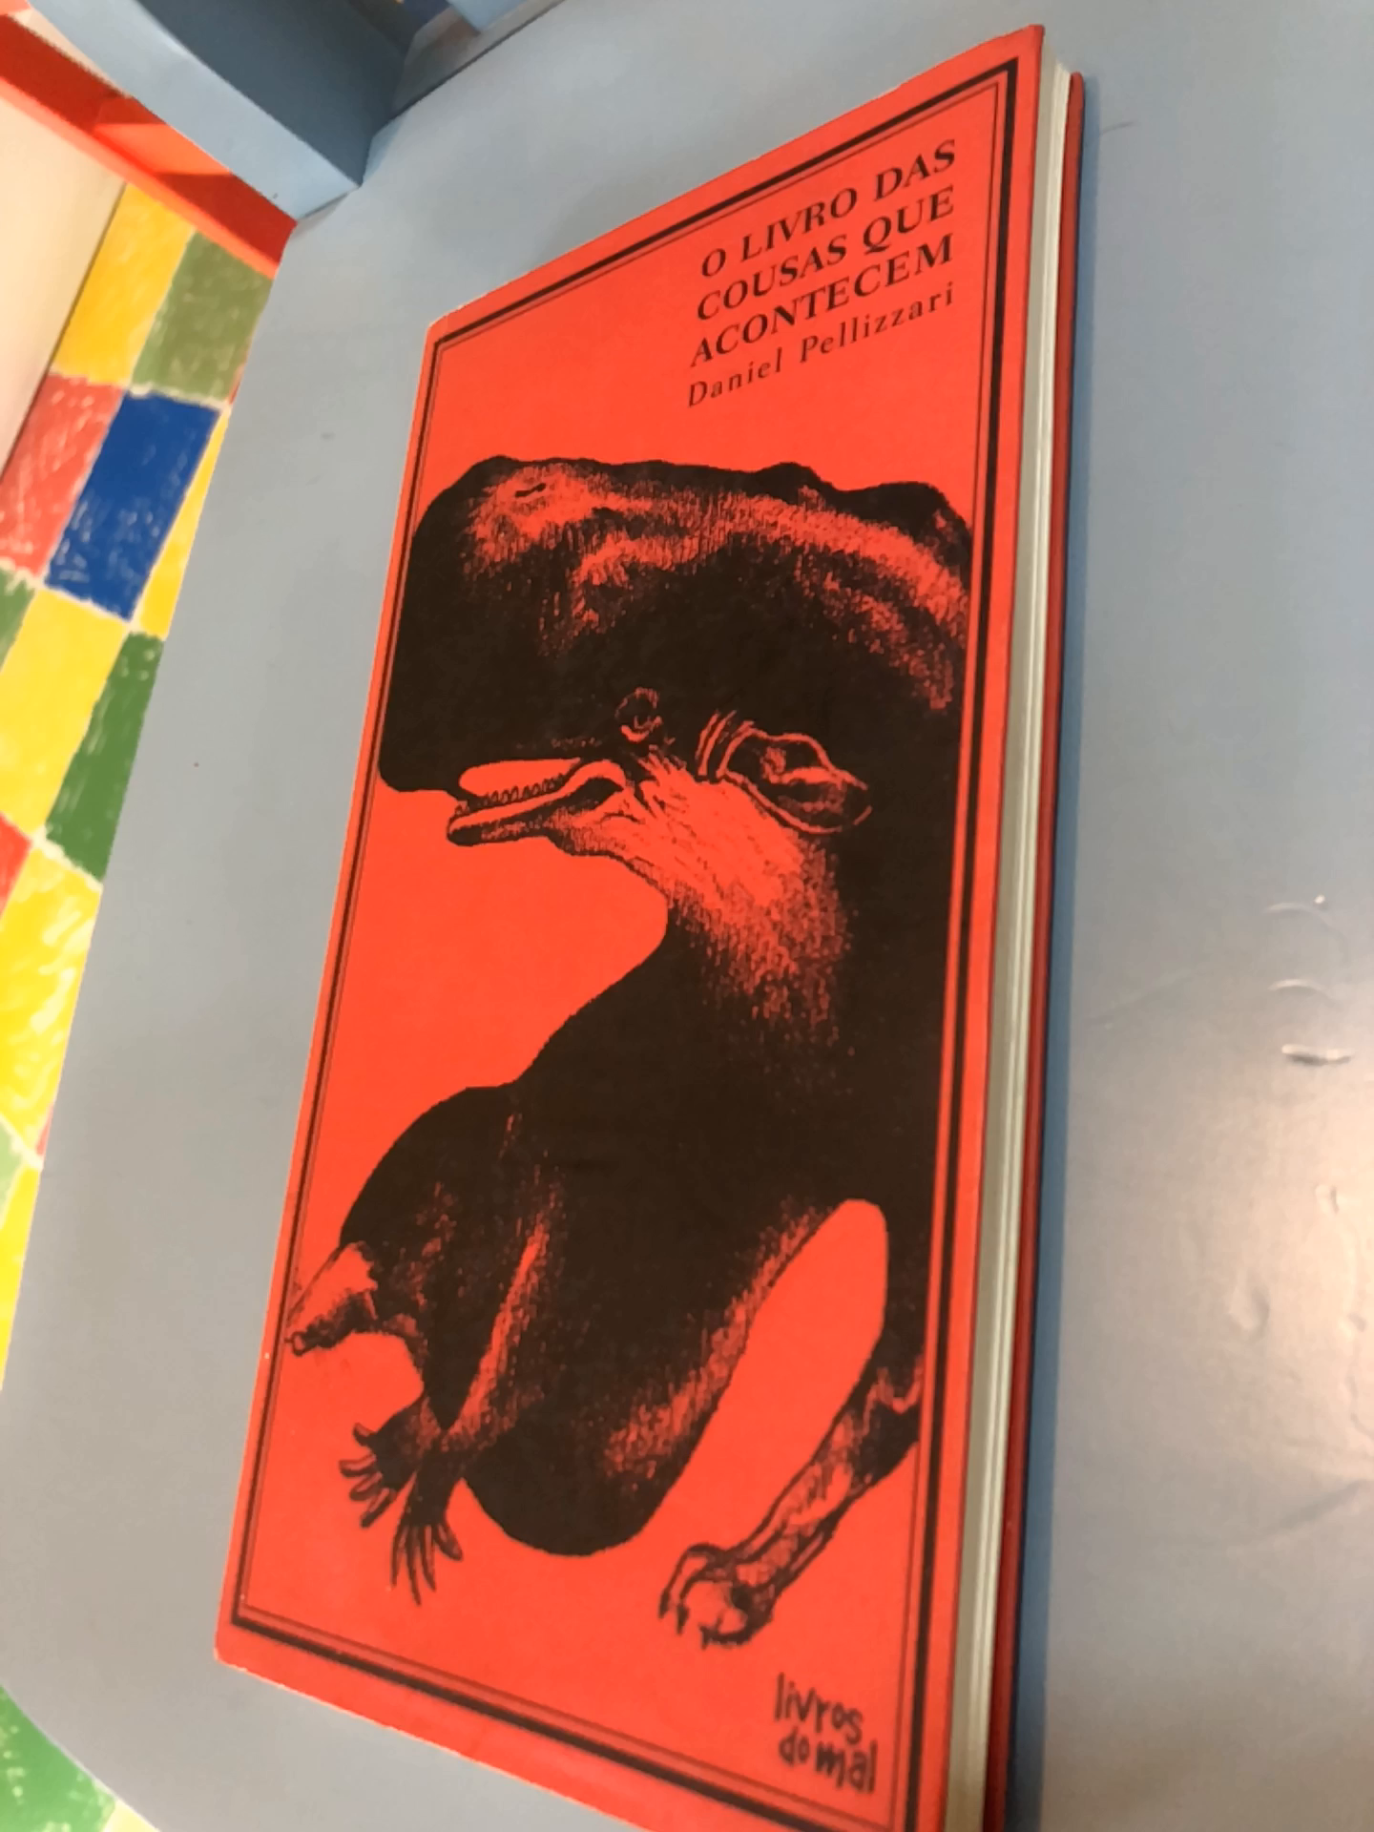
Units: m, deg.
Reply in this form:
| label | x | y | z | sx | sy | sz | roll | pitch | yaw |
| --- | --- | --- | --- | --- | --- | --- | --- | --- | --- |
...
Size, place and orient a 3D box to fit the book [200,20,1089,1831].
| label | x | y | z | sx | sy | sz | roll | pitch | yaw |
| --- | --- | --- | --- | --- | --- | --- | --- | --- | --- |
| book | -0.007 | -0.002 | 0.196 | 0.110 | 0.016 | 0.200 | -7 | 71 | 40 |
